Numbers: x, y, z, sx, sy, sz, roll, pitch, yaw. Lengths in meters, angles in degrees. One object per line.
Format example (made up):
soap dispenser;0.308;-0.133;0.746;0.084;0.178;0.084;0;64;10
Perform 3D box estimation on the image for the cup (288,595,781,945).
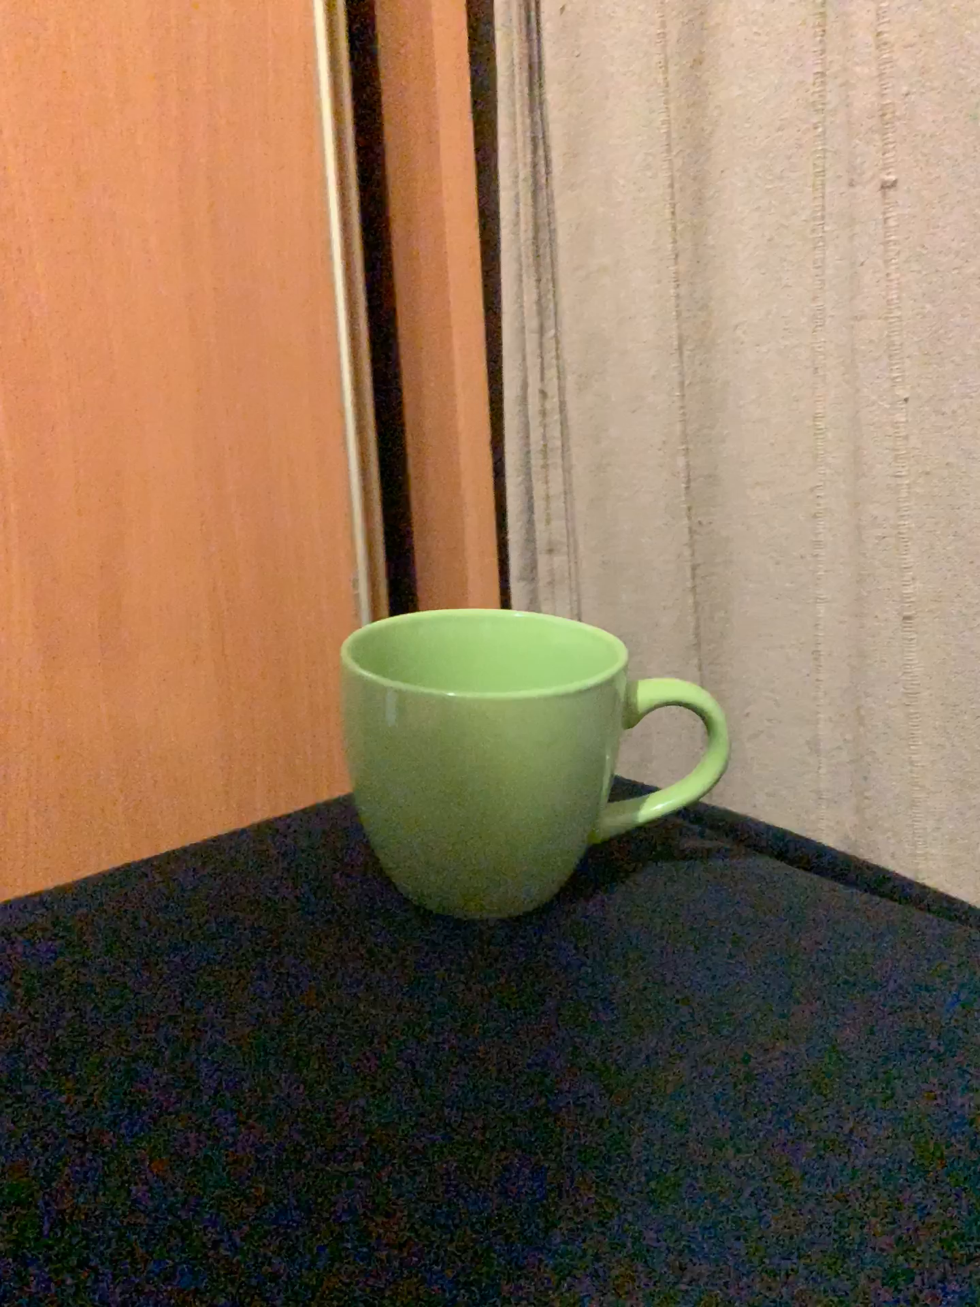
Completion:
cup;0.012;0.030;0.309;0.124;0.069;0.090;-2;18;0
